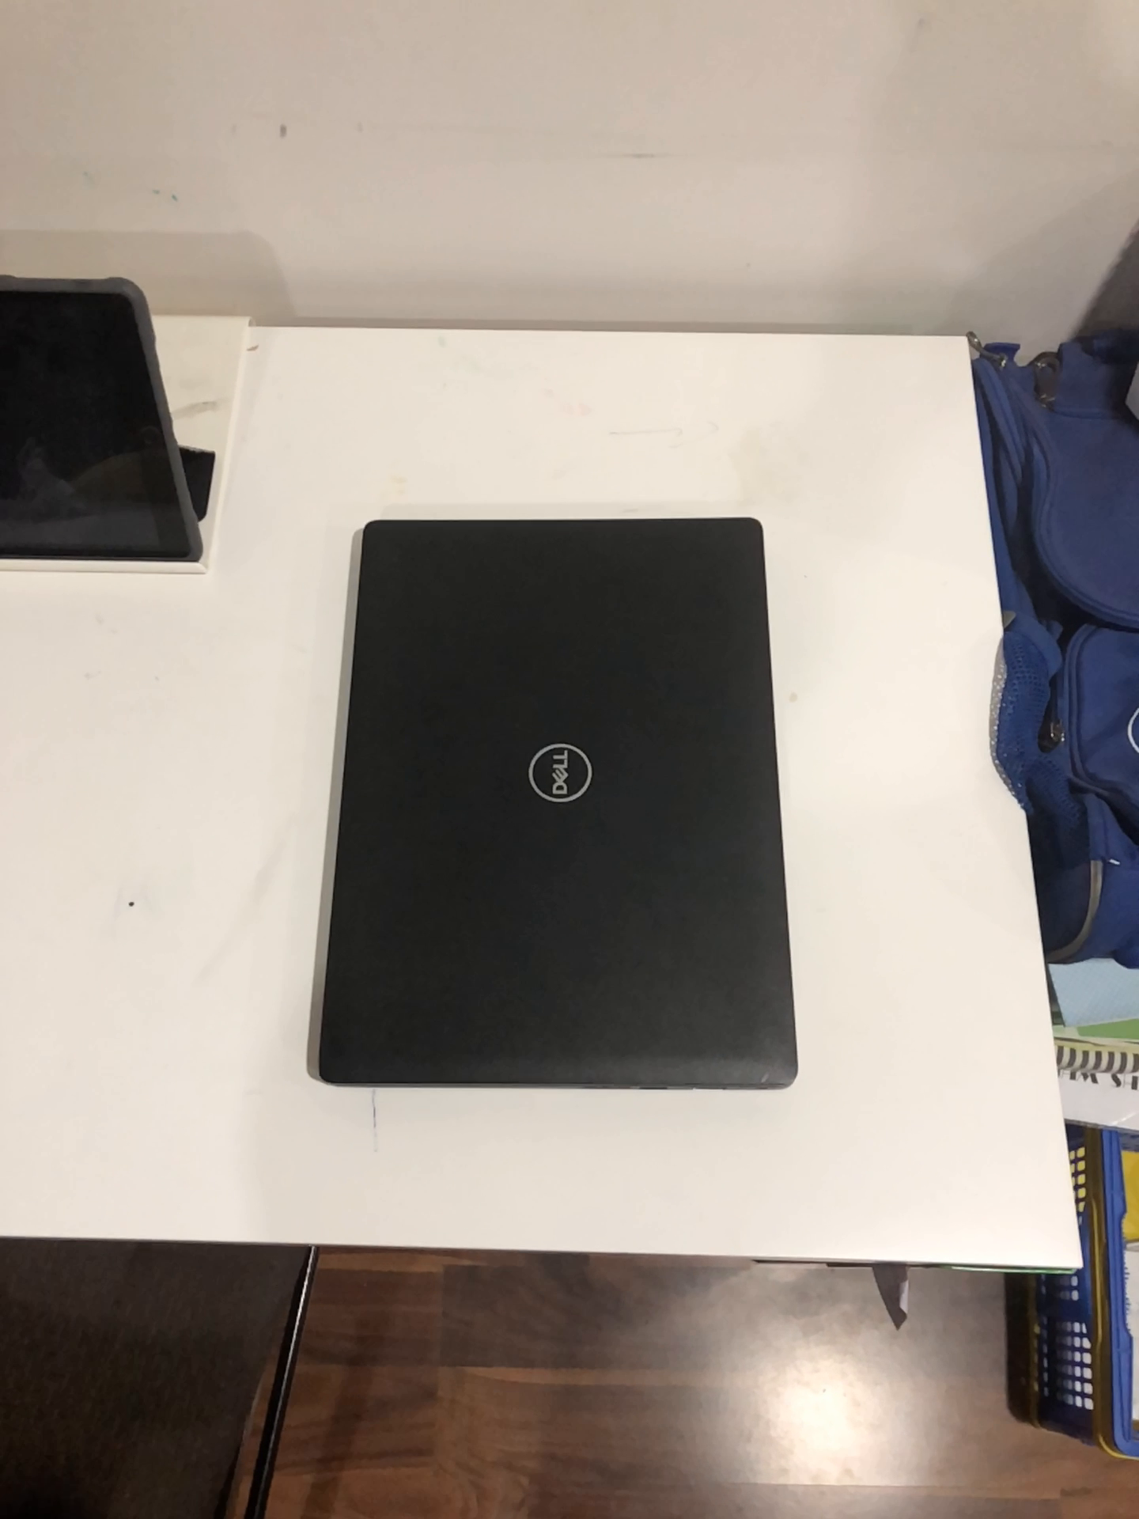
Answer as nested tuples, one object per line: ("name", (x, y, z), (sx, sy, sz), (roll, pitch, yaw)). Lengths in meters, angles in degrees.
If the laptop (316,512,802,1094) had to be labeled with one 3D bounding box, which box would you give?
("laptop", (-0.005, 0.010, 0.685), (0.241, 0.010, 0.333), (-1, 68, 3))
